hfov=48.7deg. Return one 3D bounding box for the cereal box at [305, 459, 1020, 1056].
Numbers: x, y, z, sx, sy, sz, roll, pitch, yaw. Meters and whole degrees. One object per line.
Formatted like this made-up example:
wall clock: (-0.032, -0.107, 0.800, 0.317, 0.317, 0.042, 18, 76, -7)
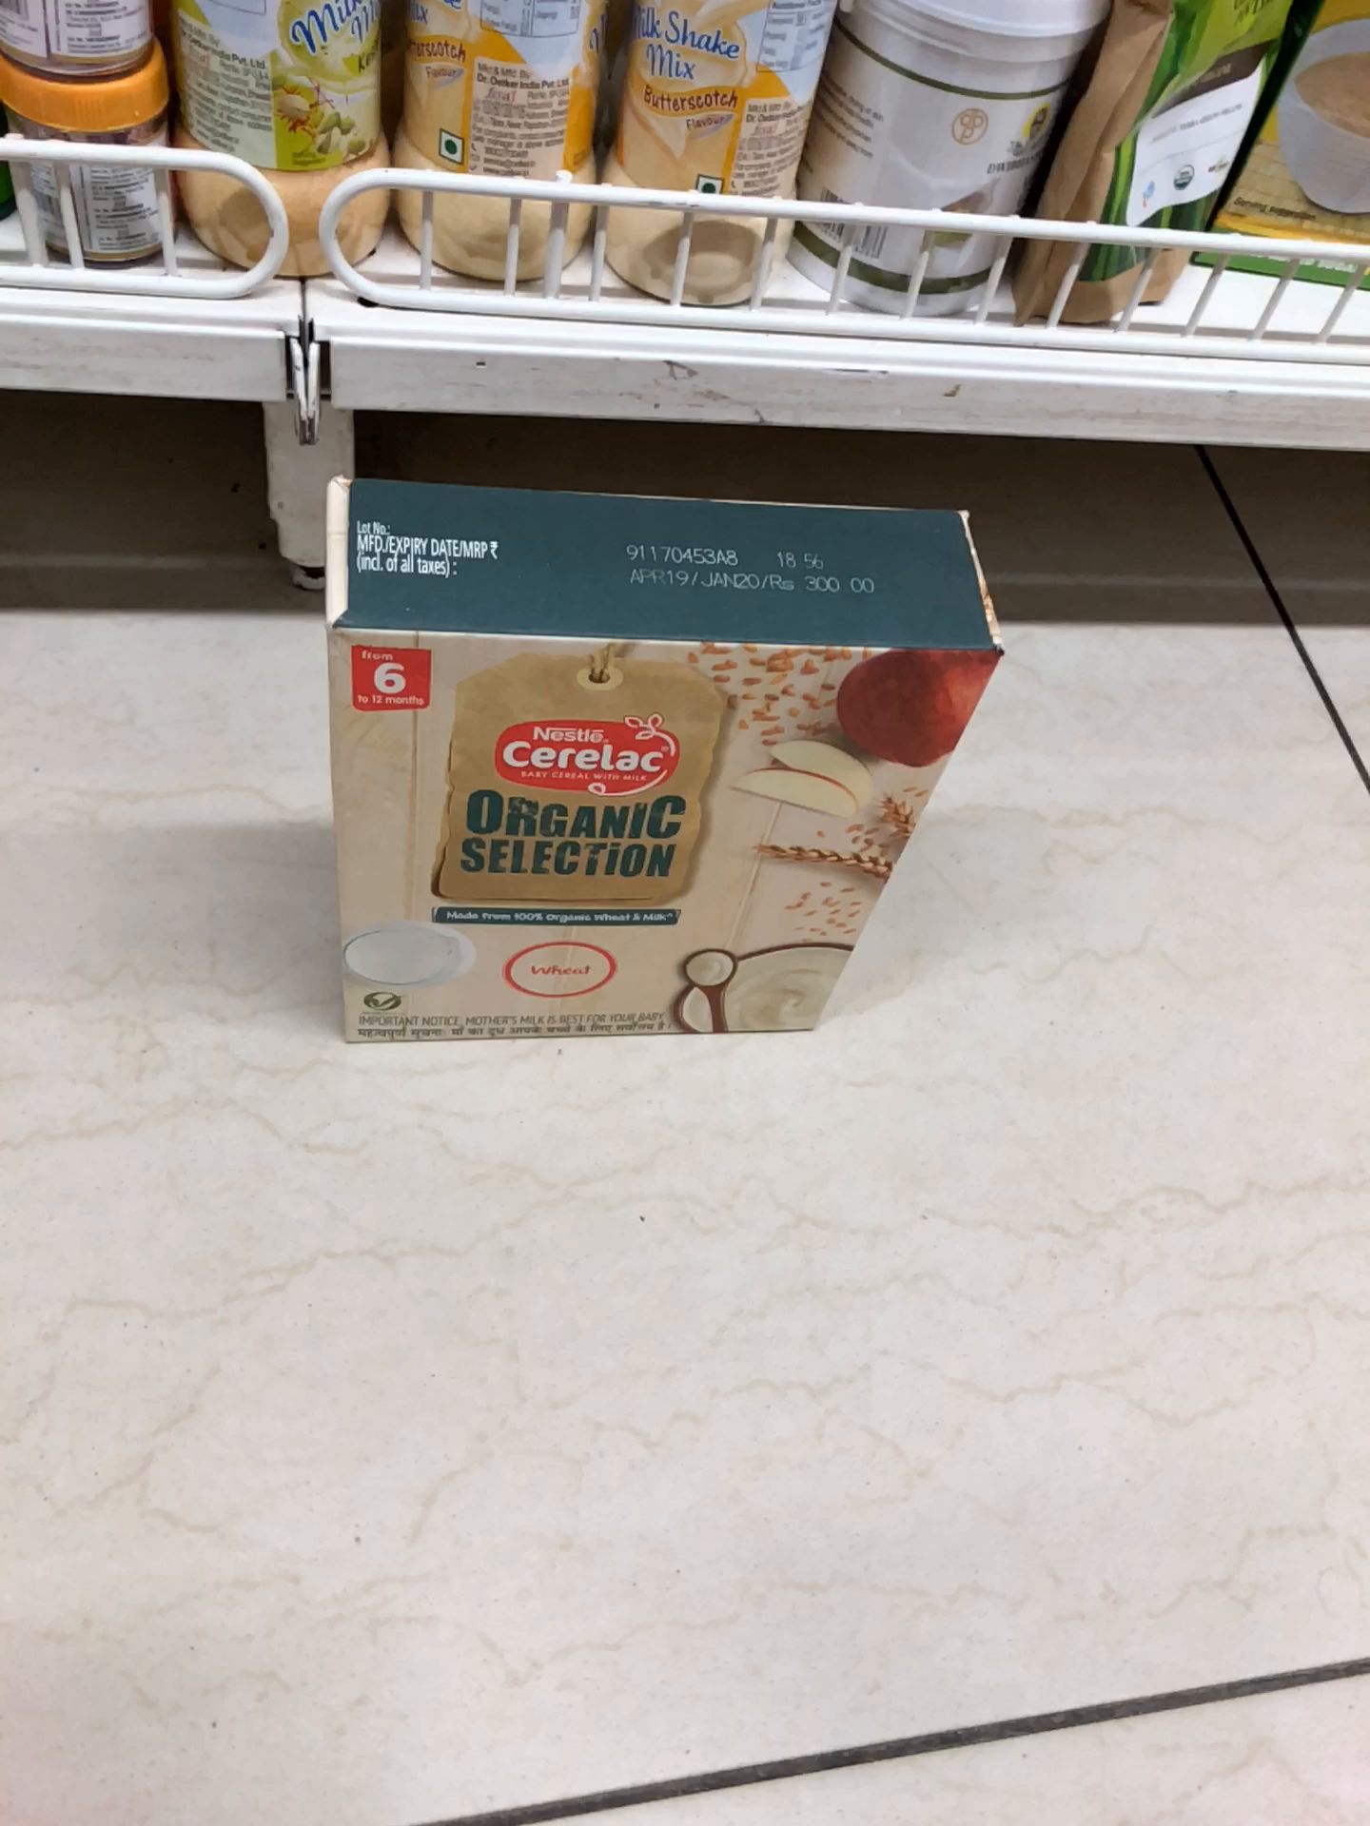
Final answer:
cereal box: (-0.020, -0.030, 0.423, 0.160, 0.189, 0.050, 0, 56, -13)
